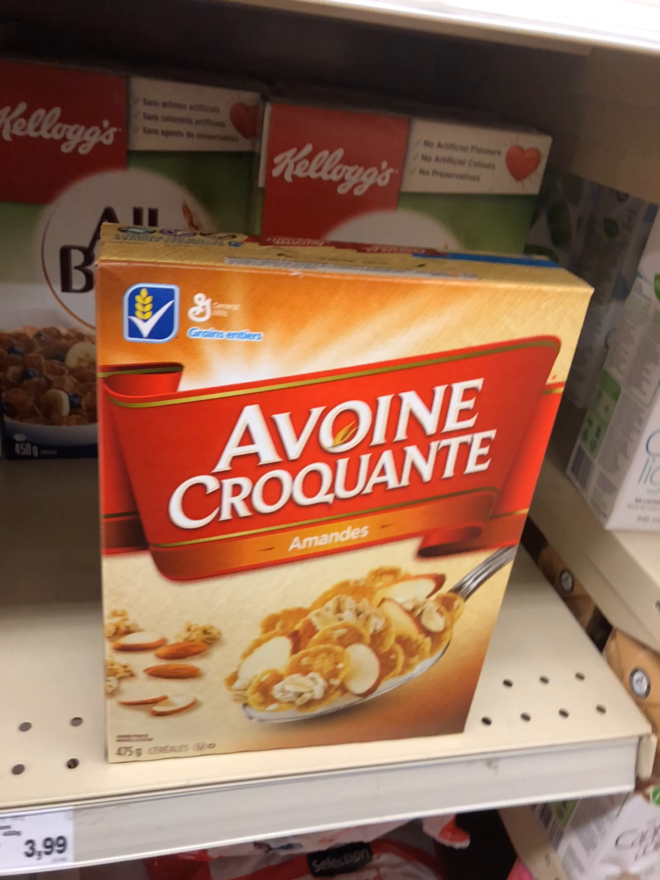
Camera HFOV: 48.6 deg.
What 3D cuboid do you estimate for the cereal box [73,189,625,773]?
[{"bbox_3d":[-0.008,0.035,0.346,0.200,0.268,0.060,1,30,-13],"label":"cereal box"}]
